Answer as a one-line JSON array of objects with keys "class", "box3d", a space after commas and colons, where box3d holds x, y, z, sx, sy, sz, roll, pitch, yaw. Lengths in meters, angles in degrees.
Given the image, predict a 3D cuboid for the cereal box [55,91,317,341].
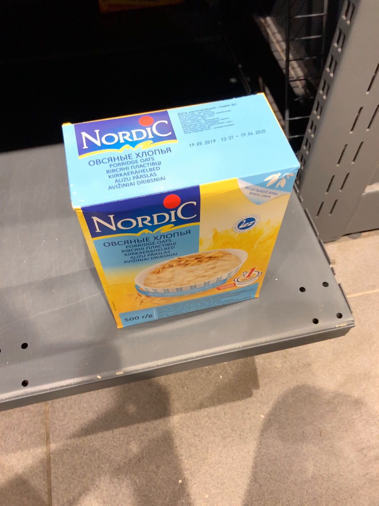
[{"class": "cereal box", "box3d": [-0.006, -0.017, 0.339, 0.150, 0.179, 0.080, -12, 57, -8]}]
